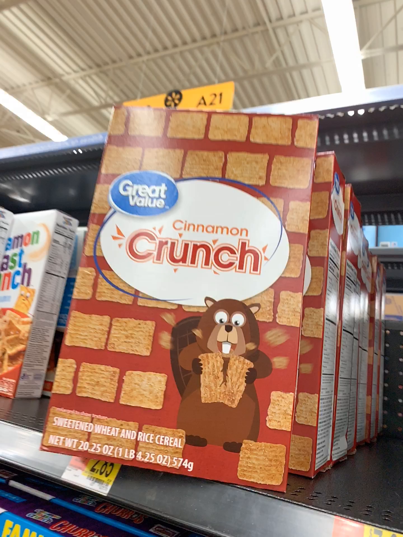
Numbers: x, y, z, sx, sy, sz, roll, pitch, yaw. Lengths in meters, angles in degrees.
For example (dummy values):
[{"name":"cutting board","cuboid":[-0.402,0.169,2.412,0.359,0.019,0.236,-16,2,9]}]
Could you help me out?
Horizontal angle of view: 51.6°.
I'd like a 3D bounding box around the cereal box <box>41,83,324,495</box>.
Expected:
[{"name":"cereal box","cuboid":[-0.003,0.002,0.384,0.190,0.331,0.070,7,-14,5]}]
